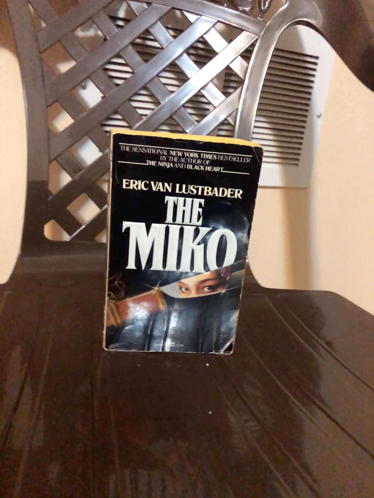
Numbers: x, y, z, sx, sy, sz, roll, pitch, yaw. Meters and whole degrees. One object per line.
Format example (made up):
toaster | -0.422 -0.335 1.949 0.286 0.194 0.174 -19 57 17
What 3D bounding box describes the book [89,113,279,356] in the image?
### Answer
book | -0.007 -0.007 0.315 0.120 0.169 0.040 4 14 -9
